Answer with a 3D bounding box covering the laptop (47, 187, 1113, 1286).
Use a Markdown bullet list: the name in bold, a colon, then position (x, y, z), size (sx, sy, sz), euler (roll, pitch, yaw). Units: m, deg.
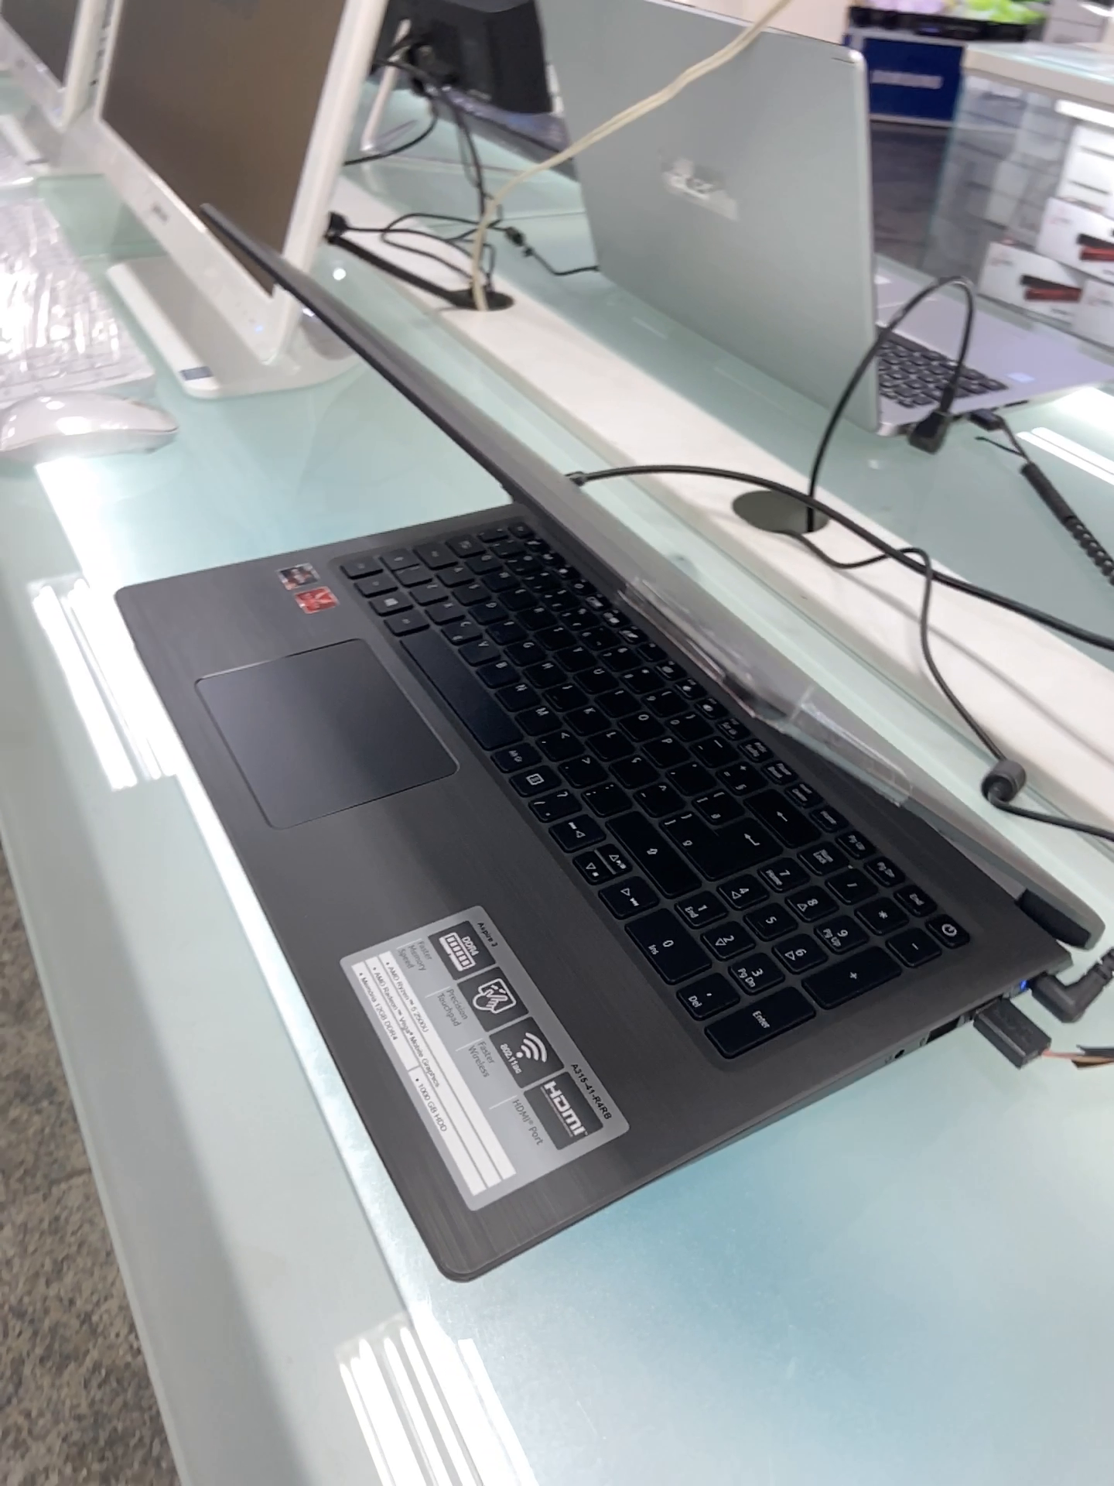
- **laptop**: position (-0.009, -0.057, 0.393), size (0.220, 0.155, 0.344), euler (-18, 43, -25)
